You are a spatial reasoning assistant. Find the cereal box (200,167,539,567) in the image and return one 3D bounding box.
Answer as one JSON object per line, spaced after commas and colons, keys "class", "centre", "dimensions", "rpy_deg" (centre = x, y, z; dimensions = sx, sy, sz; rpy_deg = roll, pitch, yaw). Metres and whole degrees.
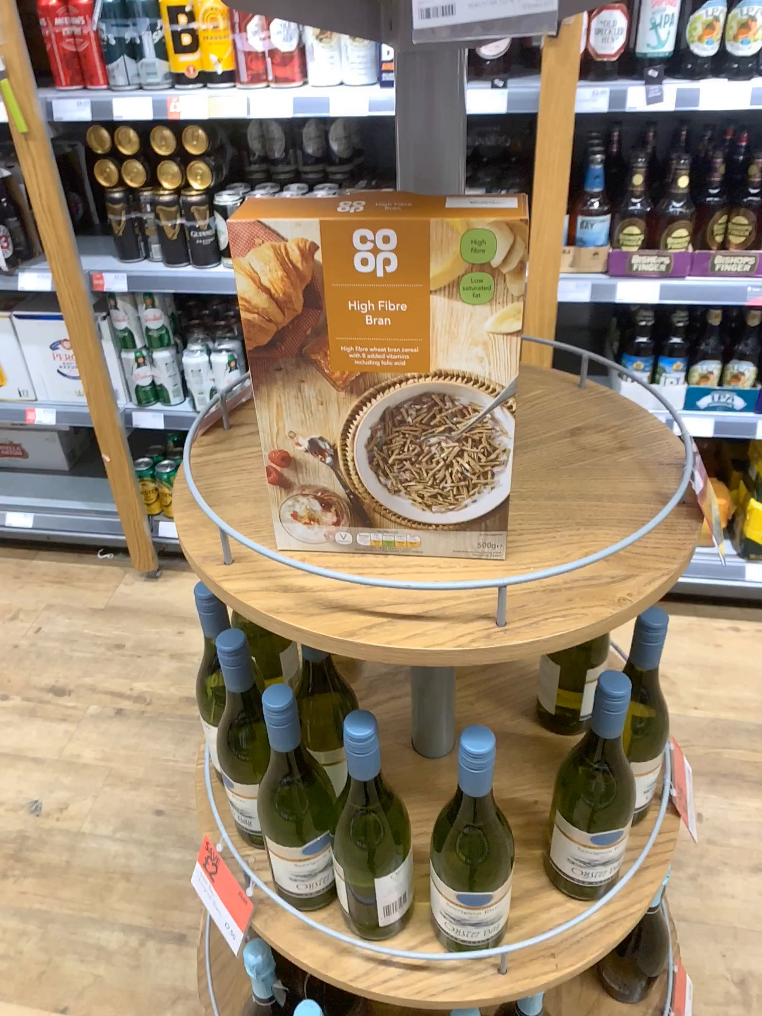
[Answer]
{"class": "cereal box", "centre": [0.000, -0.088, 0.562], "dimensions": [0.200, 0.277, 0.061], "rpy_deg": [2, 36, 7]}
